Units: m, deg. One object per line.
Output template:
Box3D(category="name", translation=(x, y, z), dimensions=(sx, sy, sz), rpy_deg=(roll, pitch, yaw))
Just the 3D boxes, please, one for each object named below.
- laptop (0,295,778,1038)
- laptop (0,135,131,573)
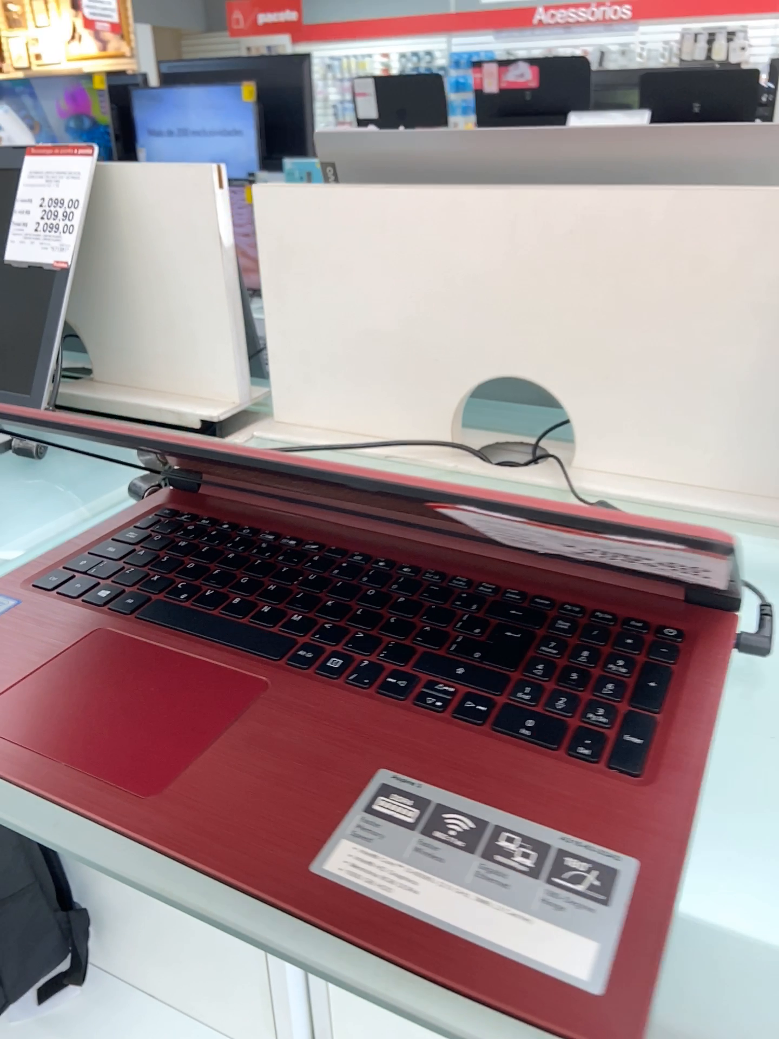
Box3D(category="laptop", translation=(-0.048, 0.001, 0.359), dimensions=(0.379, 0.132, 0.237), rpy_deg=(11, 29, 25))
Box3D(category="laptop", translation=(-0.500, -0.181, 0.650), dimensions=(0.353, 0.215, 0.379), rpy_deg=(13, 30, 24))
